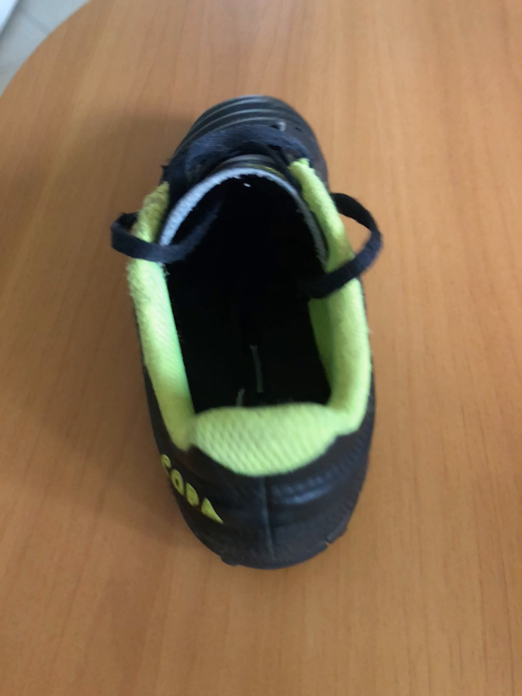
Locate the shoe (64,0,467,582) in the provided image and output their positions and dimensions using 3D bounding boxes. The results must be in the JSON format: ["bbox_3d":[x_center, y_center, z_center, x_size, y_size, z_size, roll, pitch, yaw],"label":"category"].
[{"bbox_3d":[-0.003,-0.039,0.227,0.090,0.090,0.221,-6,57,2],"label":"shoe"}]
